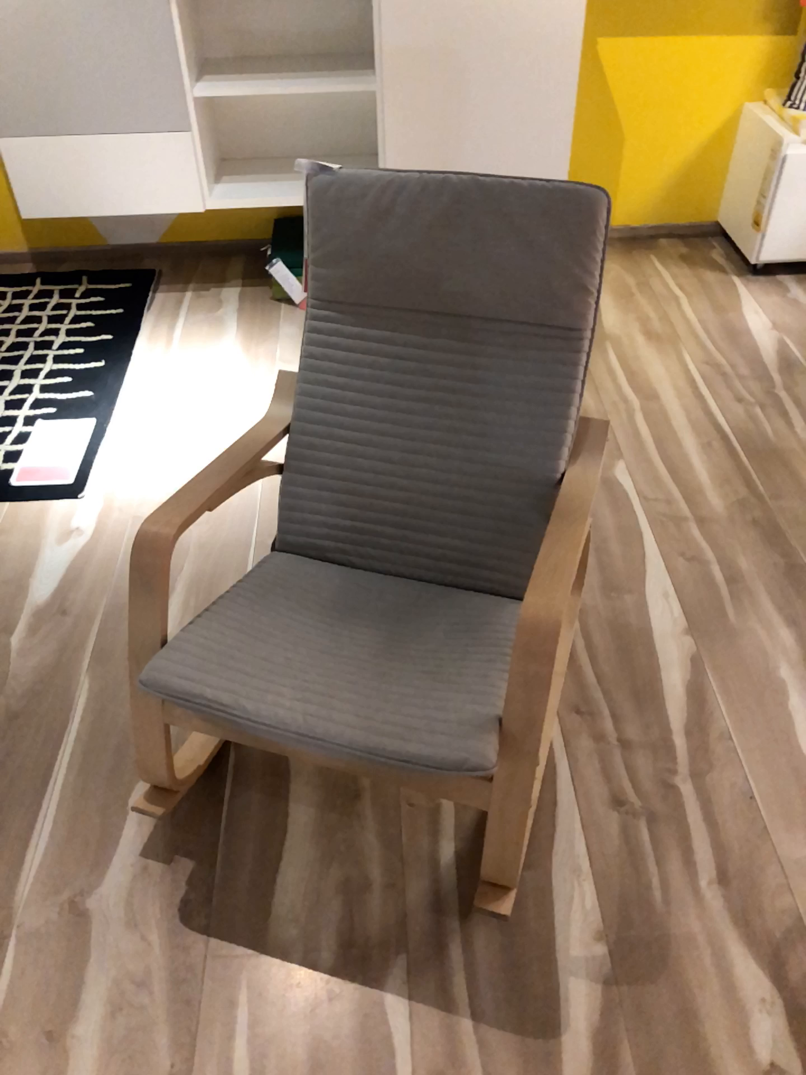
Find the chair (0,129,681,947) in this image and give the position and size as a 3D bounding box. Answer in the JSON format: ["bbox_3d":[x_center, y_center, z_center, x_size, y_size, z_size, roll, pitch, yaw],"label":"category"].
[{"bbox_3d":[-0.059,-0.009,1.392,0.751,0.944,0.704,10,43,13],"label":"chair"}]
